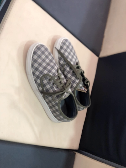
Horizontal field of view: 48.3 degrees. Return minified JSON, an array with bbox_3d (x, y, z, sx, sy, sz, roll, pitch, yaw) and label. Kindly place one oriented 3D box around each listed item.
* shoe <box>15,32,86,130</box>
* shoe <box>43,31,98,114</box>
[{"bbox_3d":[-0.036,-0.006,0.456,0.101,0.099,0.270,-31,108,-30],"label":"shoe"},{"bbox_3d":[0.029,-0.040,0.512,0.101,0.099,0.260,-21,101,-32],"label":"shoe"}]
